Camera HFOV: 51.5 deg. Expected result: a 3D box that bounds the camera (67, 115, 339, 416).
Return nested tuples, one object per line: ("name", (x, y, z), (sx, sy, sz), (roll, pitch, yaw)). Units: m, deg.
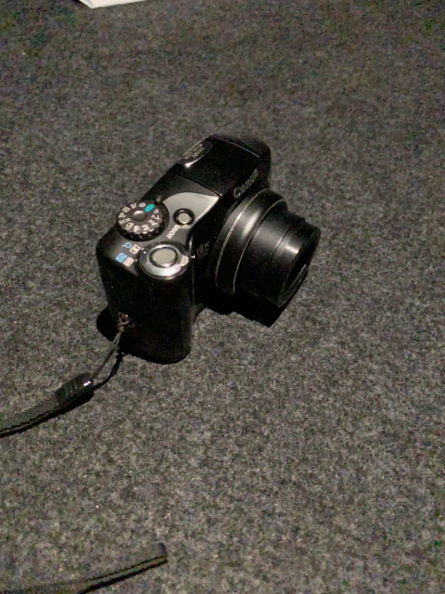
("camera", (-0.004, -0.018, 0.230), (0.070, 0.079, 0.108), (26, 56, 17))
